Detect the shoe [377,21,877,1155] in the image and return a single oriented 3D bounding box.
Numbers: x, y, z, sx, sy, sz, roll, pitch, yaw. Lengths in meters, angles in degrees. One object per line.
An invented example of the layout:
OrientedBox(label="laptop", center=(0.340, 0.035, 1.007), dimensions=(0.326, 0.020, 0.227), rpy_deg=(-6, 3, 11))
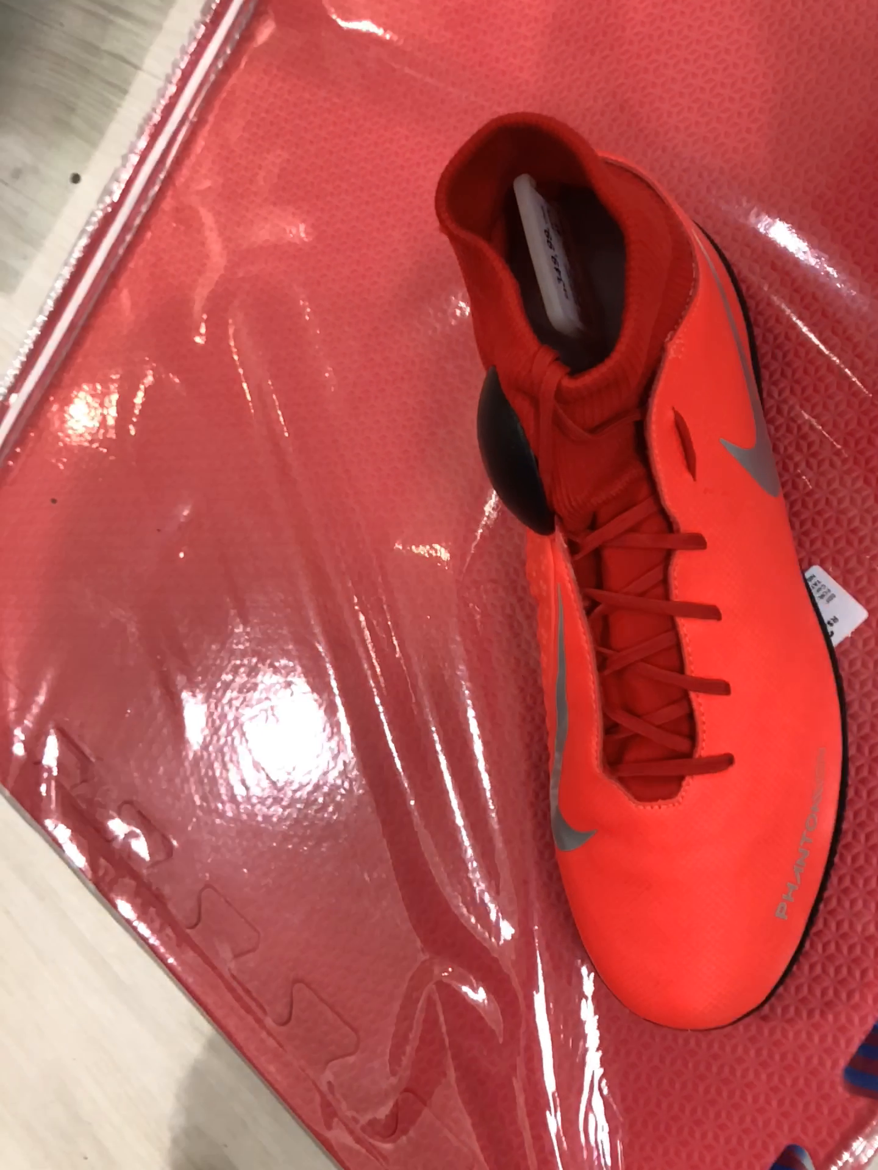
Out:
OrientedBox(label="shoe", center=(0.058, 0.002, 0.278), dimensions=(0.090, 0.120, 0.250), rpy_deg=(-10, 75, 23))
